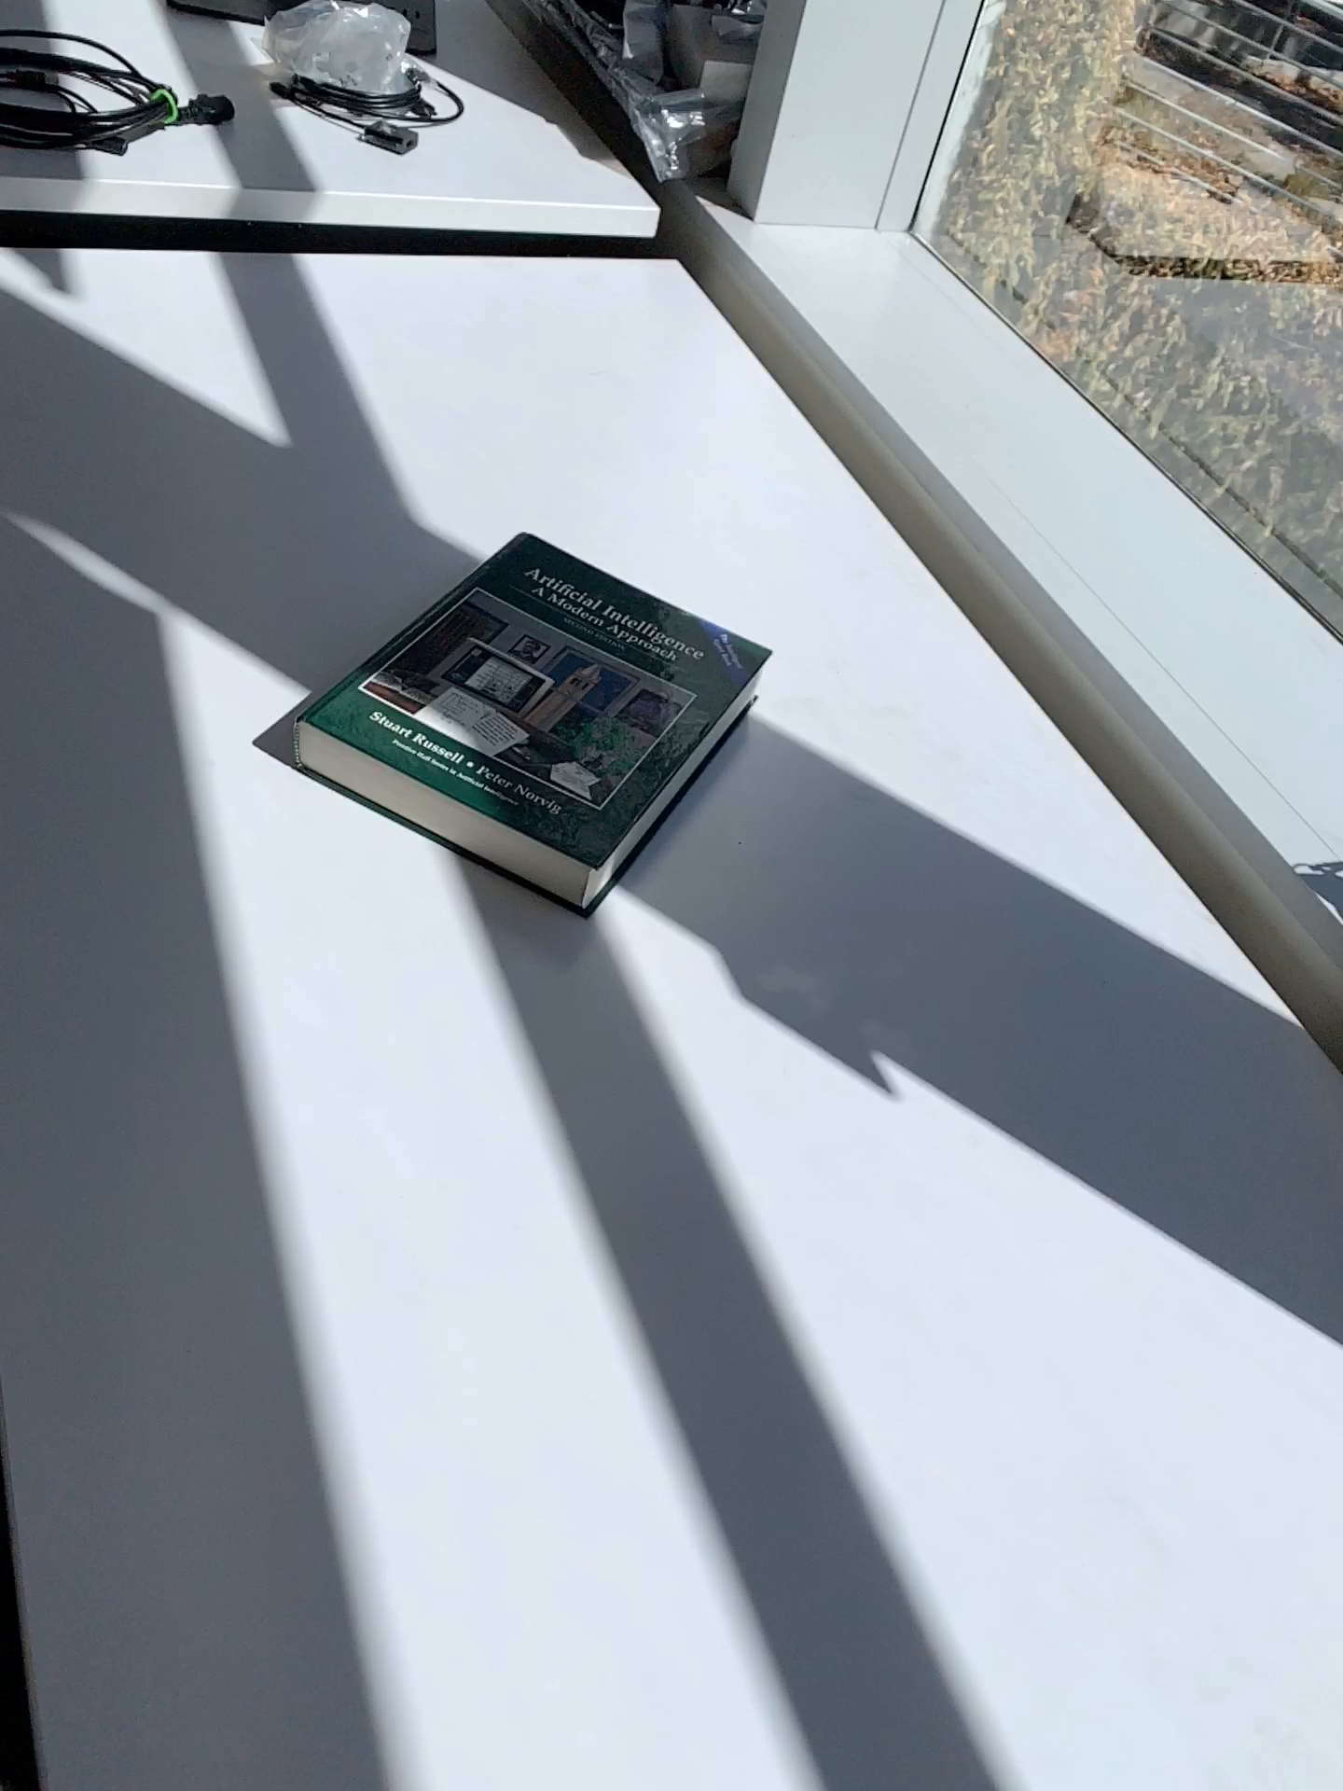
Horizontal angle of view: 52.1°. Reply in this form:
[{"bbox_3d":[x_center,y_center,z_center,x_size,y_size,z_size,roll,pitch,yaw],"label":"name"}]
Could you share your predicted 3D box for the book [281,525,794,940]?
[{"bbox_3d":[-0.078,-0.120,0.899,0.230,0.050,0.261,27,47,10],"label":"book"}]
